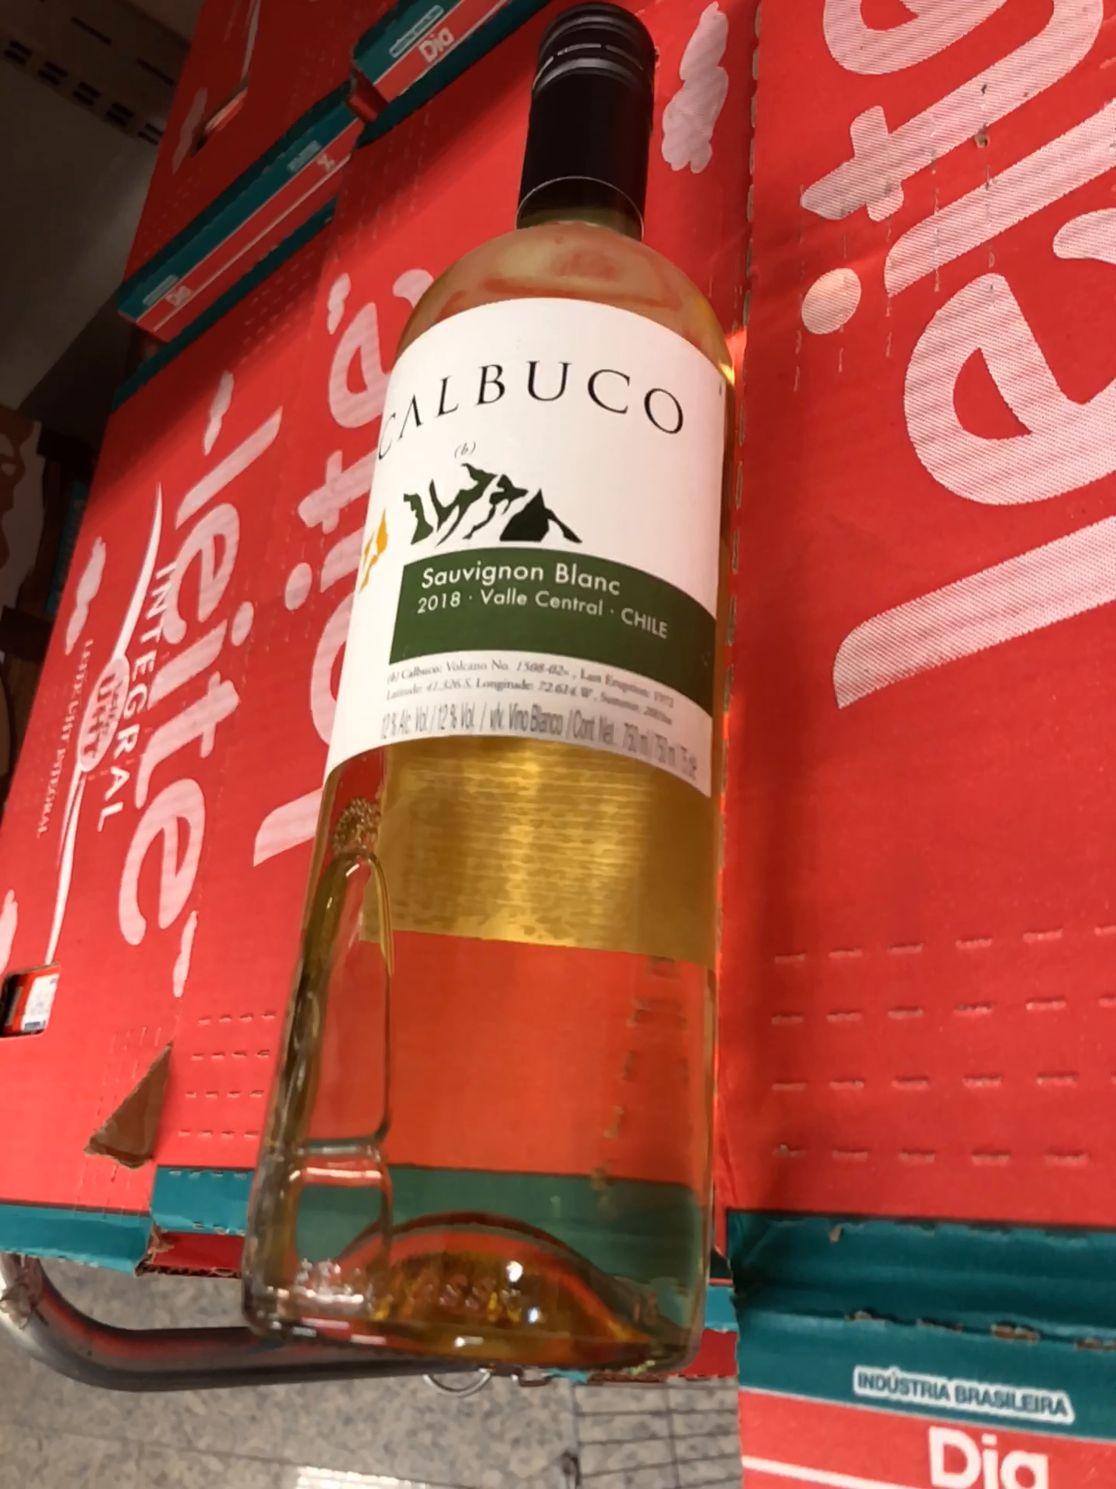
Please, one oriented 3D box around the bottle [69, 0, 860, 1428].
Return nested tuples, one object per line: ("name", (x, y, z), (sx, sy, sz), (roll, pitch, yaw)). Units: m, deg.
("bottle", (0.002, -0.044, 0.237), (0.090, 0.100, 0.291), (0, 68, 9))
